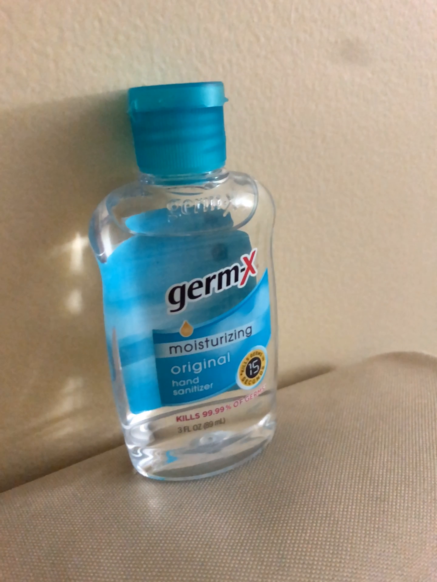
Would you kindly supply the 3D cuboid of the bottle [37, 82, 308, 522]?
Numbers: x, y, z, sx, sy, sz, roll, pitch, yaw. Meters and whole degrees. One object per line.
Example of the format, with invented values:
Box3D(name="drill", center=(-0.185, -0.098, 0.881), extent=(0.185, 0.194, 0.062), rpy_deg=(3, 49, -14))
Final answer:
Box3D(name="bottle", center=(-0.009, 0.001, 0.142), extent=(0.060, 0.110, 0.030), rpy_deg=(-13, 23, -27))
